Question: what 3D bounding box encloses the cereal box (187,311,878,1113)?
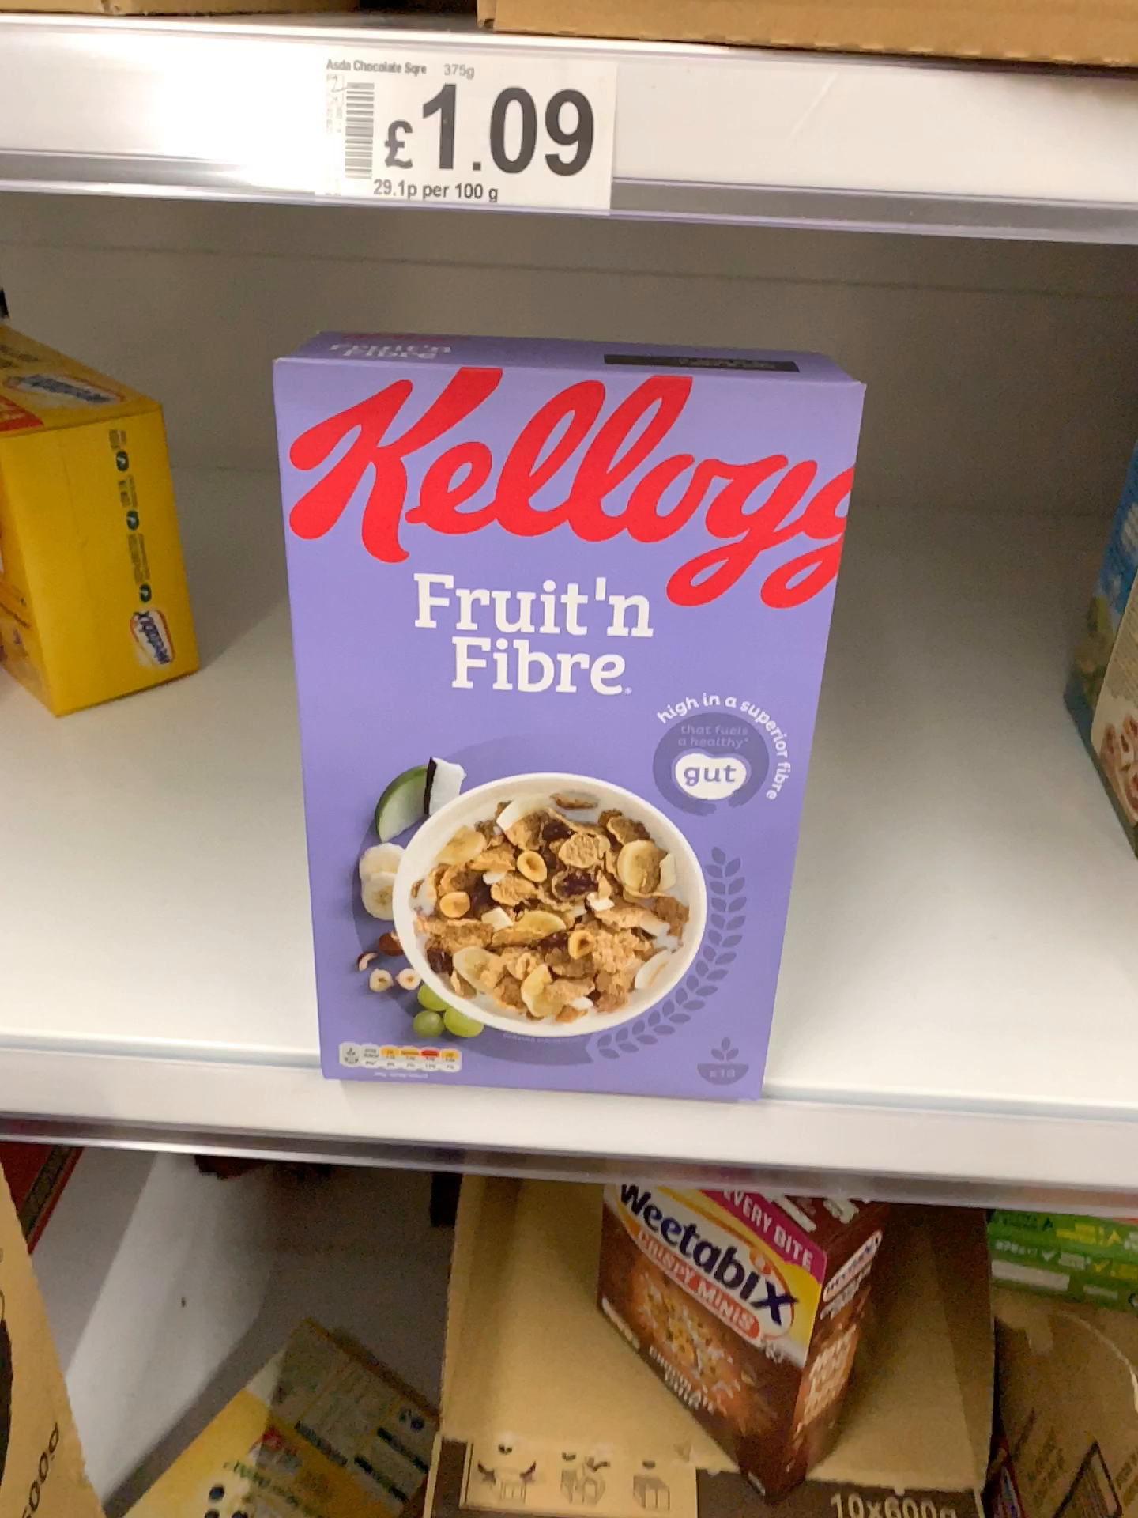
[{"bbox_3d":[-0.016,-0.007,0.459,0.210,0.298,0.081,3,27,0],"label":"cereal box"}]
